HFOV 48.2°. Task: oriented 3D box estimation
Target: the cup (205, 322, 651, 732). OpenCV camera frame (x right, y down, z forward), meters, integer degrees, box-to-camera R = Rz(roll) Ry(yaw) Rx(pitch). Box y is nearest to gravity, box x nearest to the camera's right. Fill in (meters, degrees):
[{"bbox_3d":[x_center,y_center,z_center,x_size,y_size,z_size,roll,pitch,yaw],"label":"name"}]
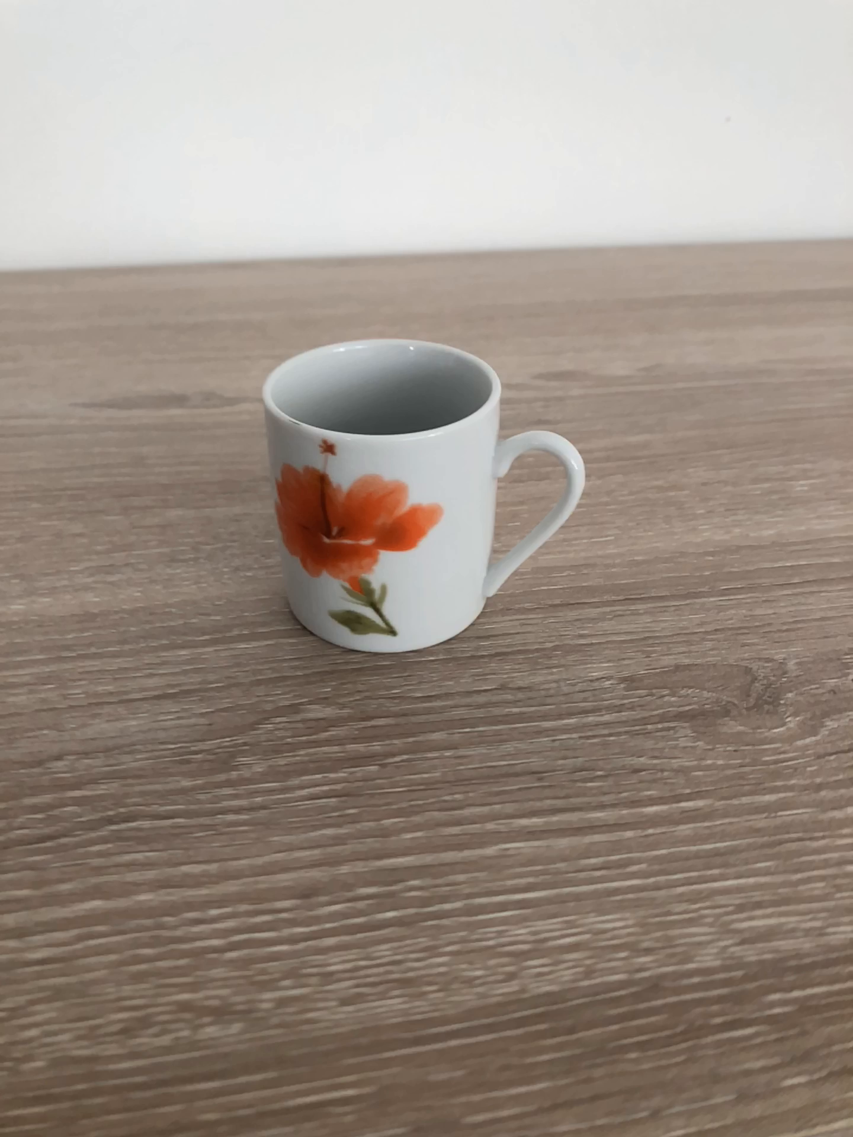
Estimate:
[{"bbox_3d":[0.004,-0.013,0.217,0.080,0.060,0.060,10,35,14],"label":"cup"}]
